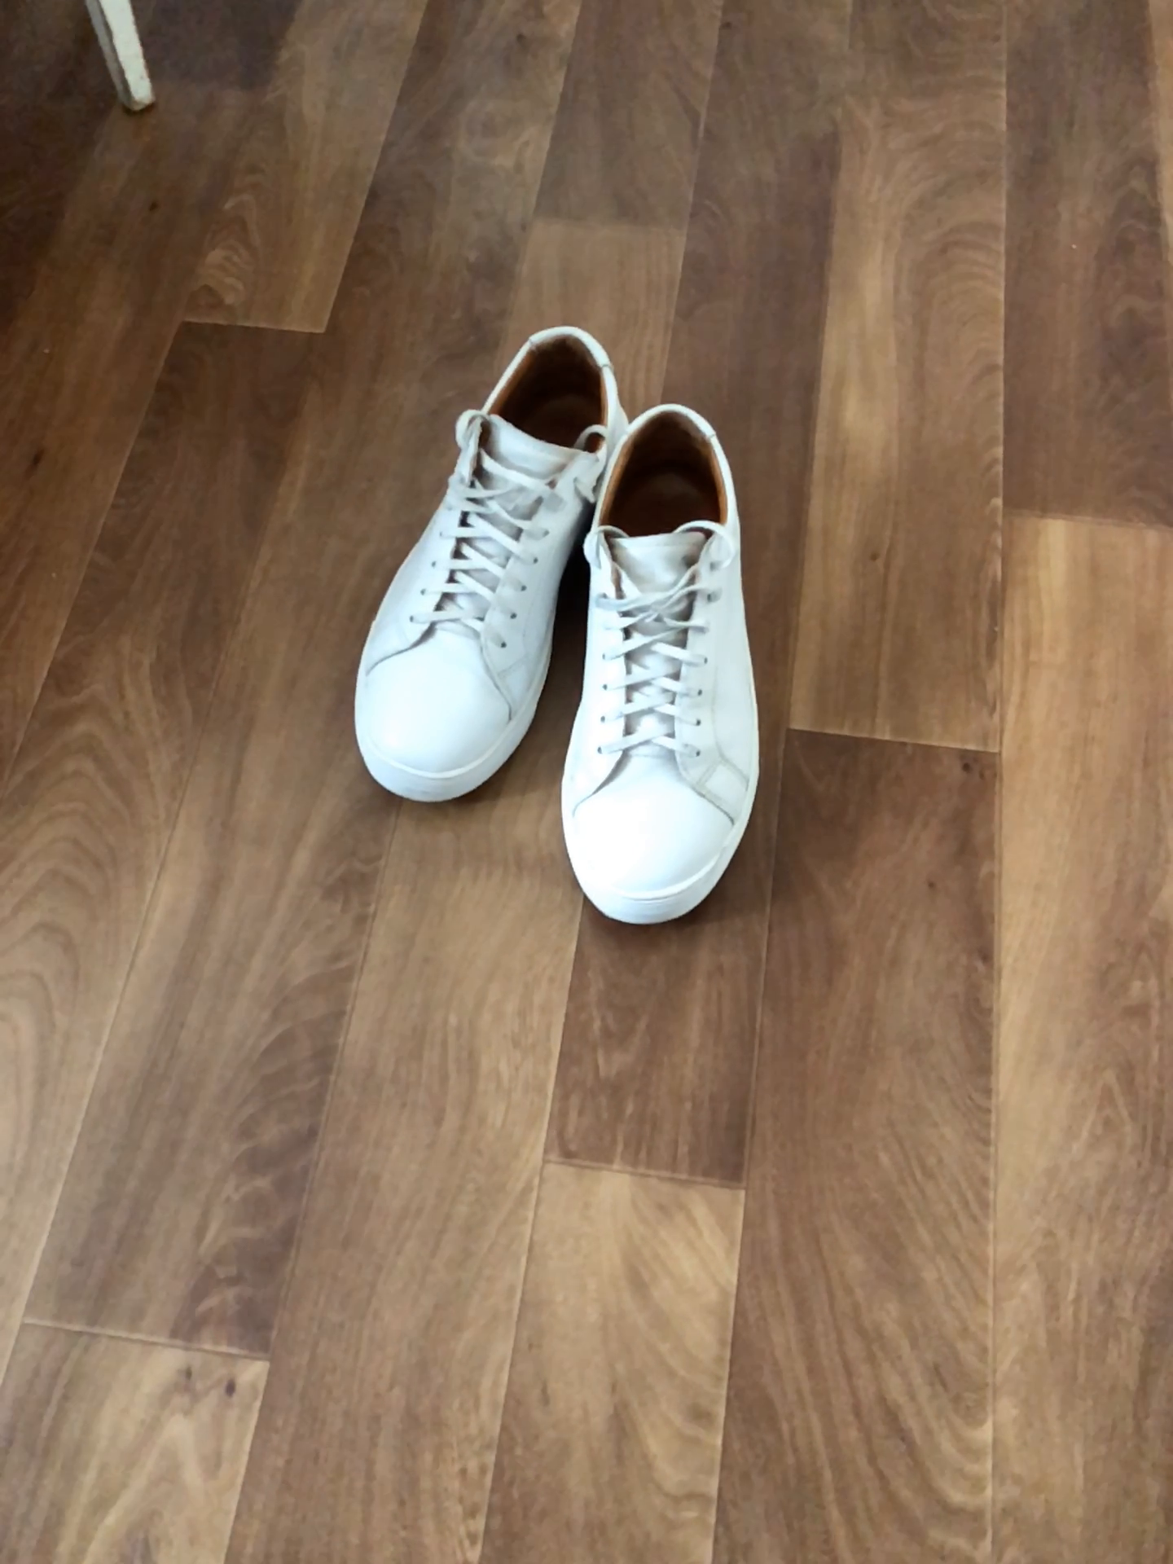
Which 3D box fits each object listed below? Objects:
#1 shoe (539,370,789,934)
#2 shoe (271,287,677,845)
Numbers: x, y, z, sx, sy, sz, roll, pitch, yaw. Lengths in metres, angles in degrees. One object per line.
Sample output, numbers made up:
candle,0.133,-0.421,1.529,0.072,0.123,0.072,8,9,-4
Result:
shoe,0.043,-0.072,0.667,0.110,0.090,0.281,3,65,2
shoe,-0.049,-0.122,0.698,0.110,0.090,0.281,18,66,9
